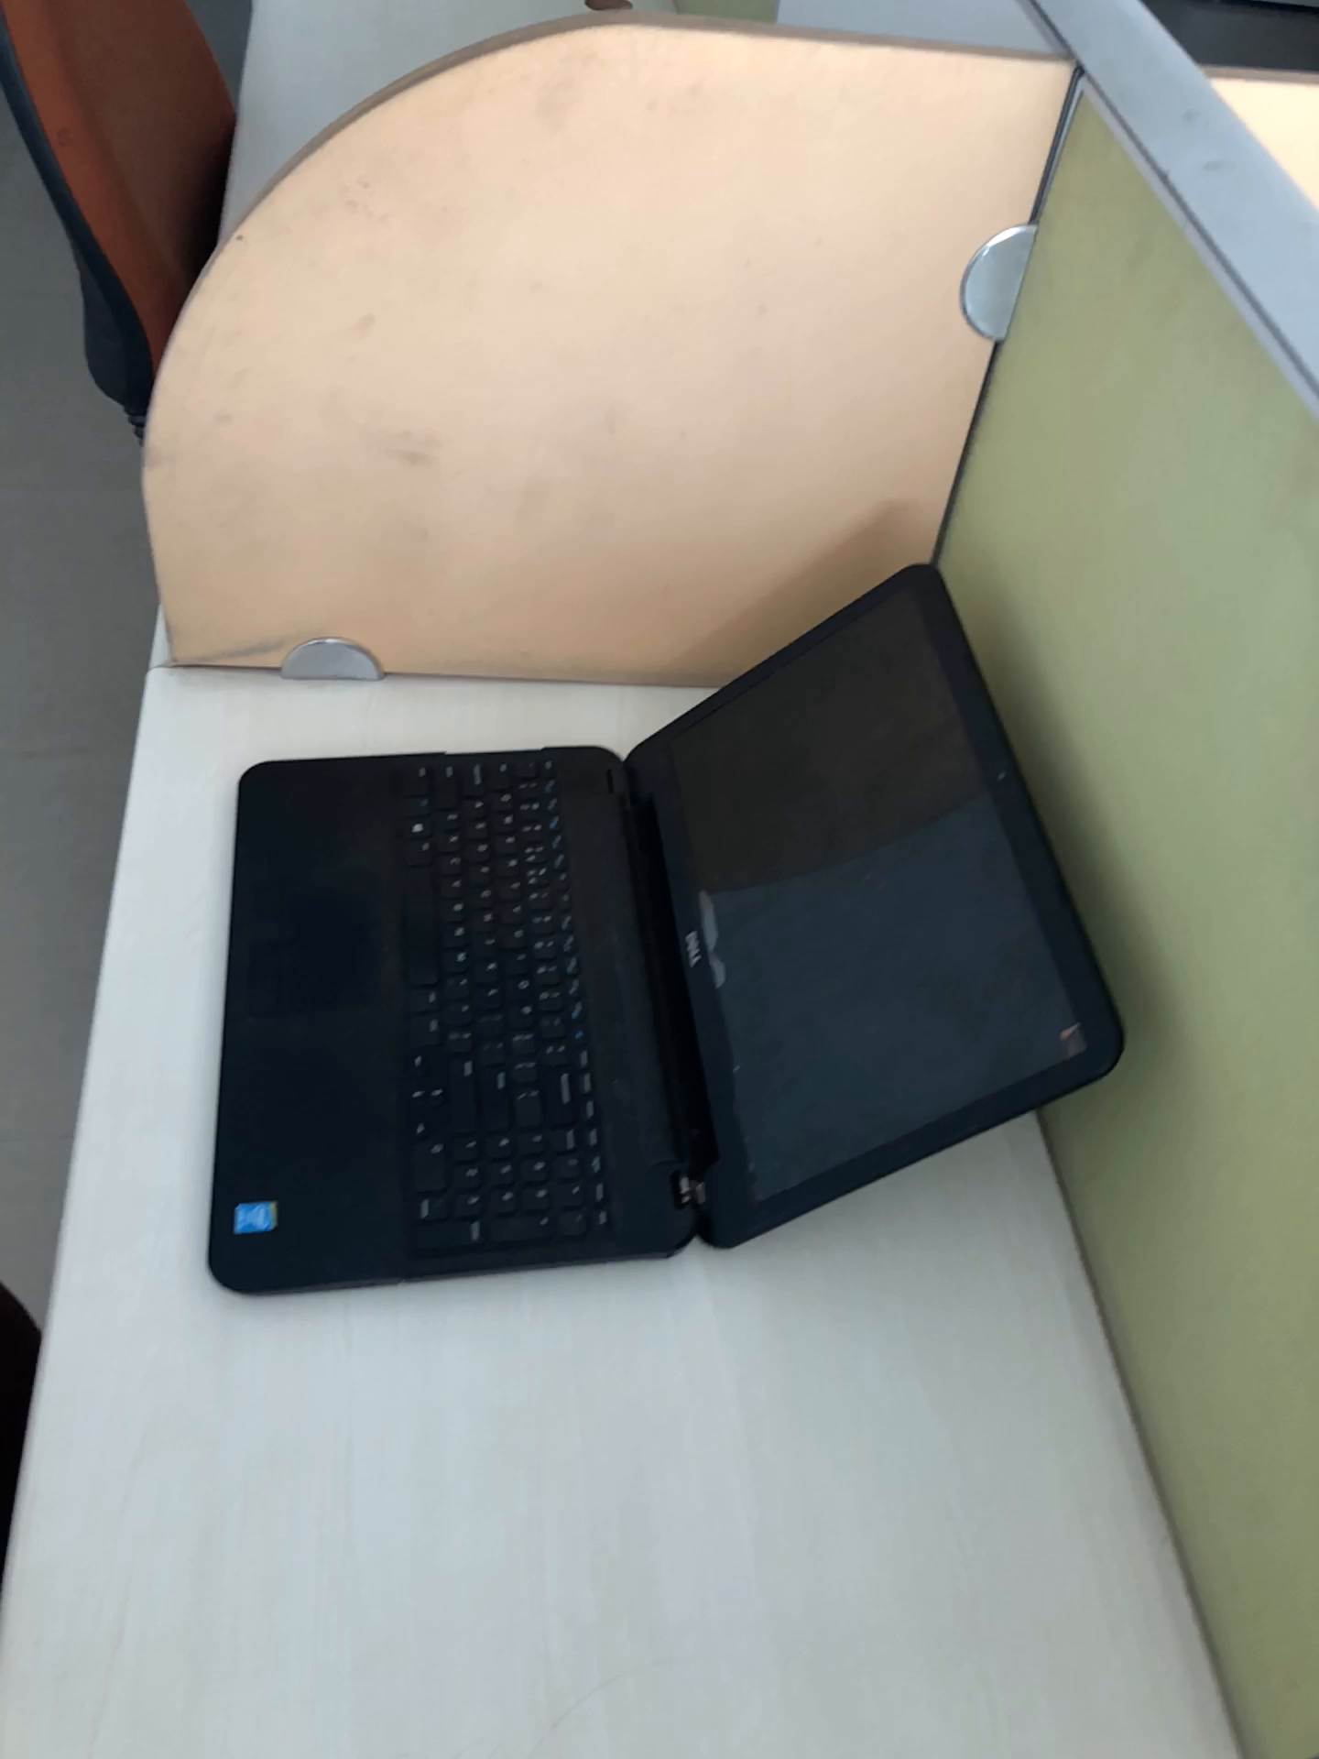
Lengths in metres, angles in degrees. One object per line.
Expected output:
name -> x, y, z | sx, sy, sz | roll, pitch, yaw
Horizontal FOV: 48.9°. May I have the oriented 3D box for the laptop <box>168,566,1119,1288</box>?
laptop -> -0.029, 0.007, 0.814 | 0.424, 0.165, 0.358 | -2, 51, -9
